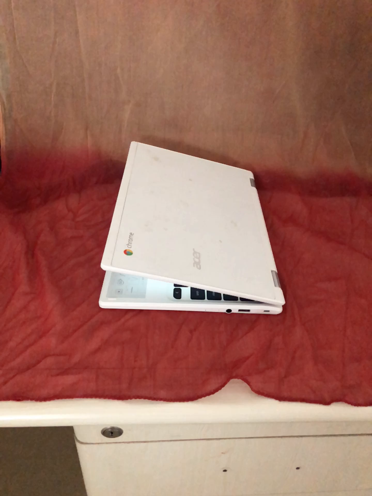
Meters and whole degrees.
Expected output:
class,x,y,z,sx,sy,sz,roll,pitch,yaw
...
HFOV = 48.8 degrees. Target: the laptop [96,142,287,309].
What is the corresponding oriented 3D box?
class,x,y,z,sx,sy,sz,roll,pitch,yaw
laptop,0.008,-0.049,0.538,0.189,0.055,0.290,2,38,0
